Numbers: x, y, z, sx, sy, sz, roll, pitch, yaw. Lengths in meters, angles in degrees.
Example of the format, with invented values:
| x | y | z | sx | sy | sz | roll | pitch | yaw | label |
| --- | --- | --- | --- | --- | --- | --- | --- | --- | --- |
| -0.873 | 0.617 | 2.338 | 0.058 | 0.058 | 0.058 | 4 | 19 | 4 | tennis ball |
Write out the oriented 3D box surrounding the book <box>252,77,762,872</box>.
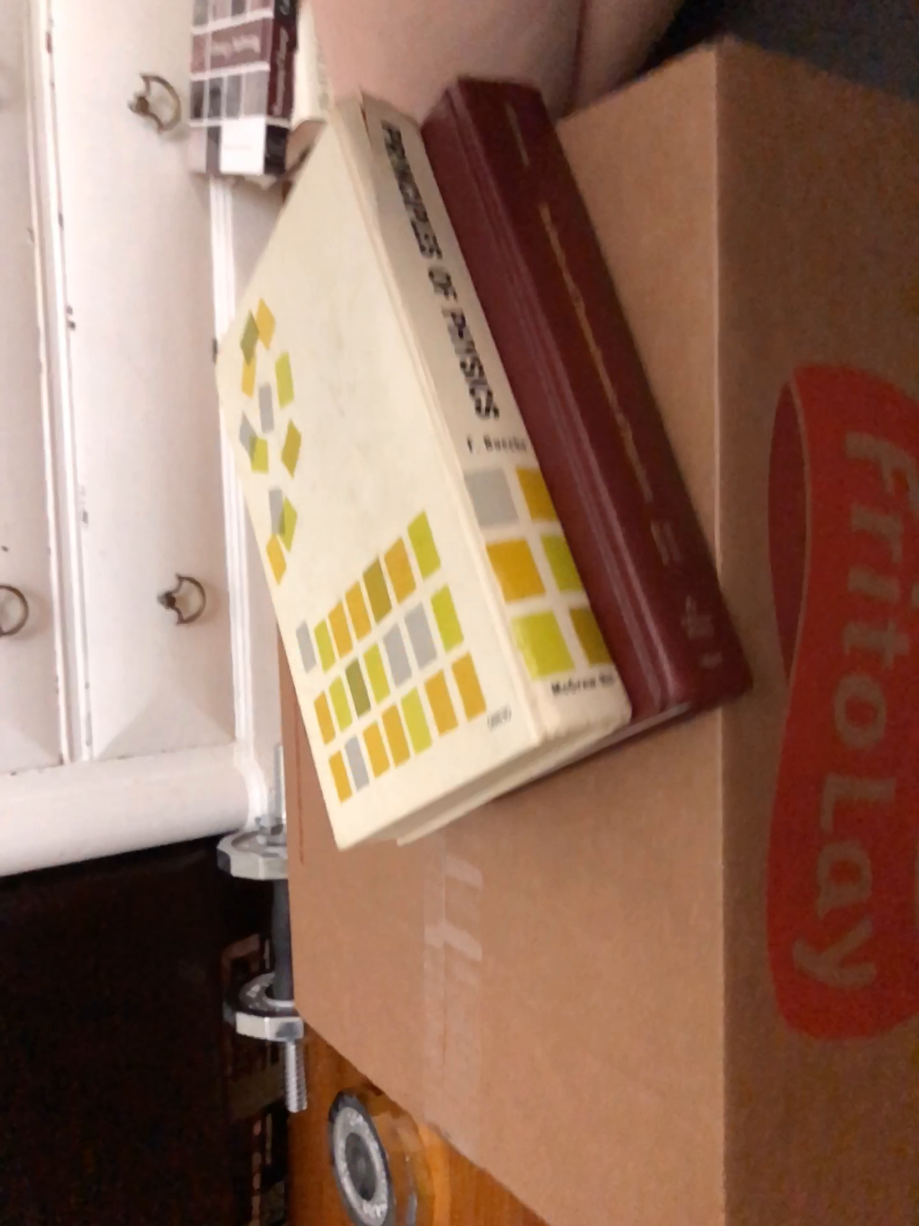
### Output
| x | y | z | sx | sy | sz | roll | pitch | yaw | label |
| --- | --- | --- | --- | --- | --- | --- | --- | --- | --- |
| -0.003 | -0.039 | 0.405 | 0.181 | 0.040 | 0.250 | -34 | 68 | 52 | book |

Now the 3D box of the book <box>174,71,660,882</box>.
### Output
| x | y | z | sx | sy | sz | roll | pitch | yaw | label |
| --- | --- | --- | --- | --- | --- | --- | --- | --- | --- |
| -0.039 | -0.040 | 0.400 | 0.181 | 0.040 | 0.250 | -38 | 65 | 51 | book |
